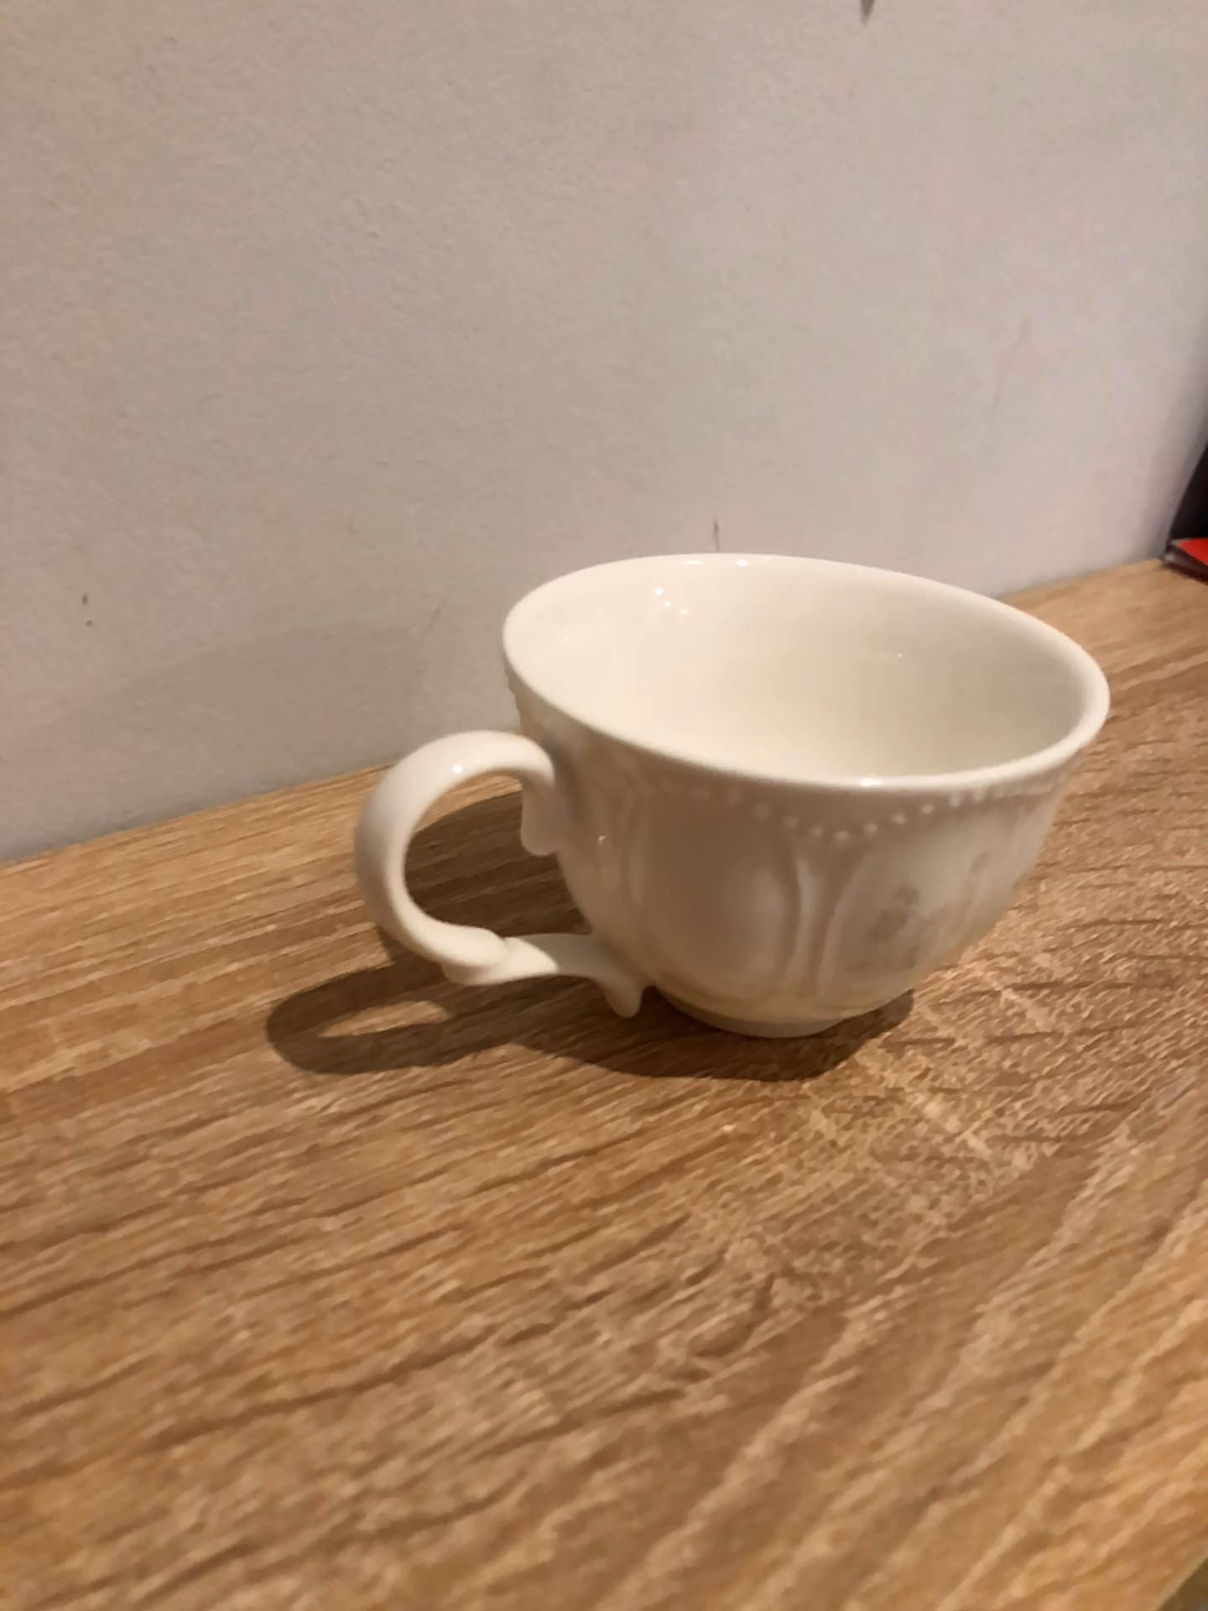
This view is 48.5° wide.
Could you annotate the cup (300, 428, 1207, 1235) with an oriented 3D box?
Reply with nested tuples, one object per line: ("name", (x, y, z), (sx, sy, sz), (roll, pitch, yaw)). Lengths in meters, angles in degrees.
("cup", (0.025, -0.008, 0.161), (0.100, 0.050, 0.060), (-21, 36, -38))
